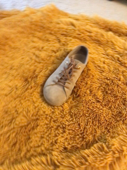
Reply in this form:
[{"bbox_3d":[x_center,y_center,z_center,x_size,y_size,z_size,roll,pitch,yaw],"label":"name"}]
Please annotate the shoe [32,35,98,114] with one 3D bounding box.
[{"bbox_3d":[0.016,-0.050,0.452,0.100,0.069,0.260,26,55,9],"label":"shoe"}]
